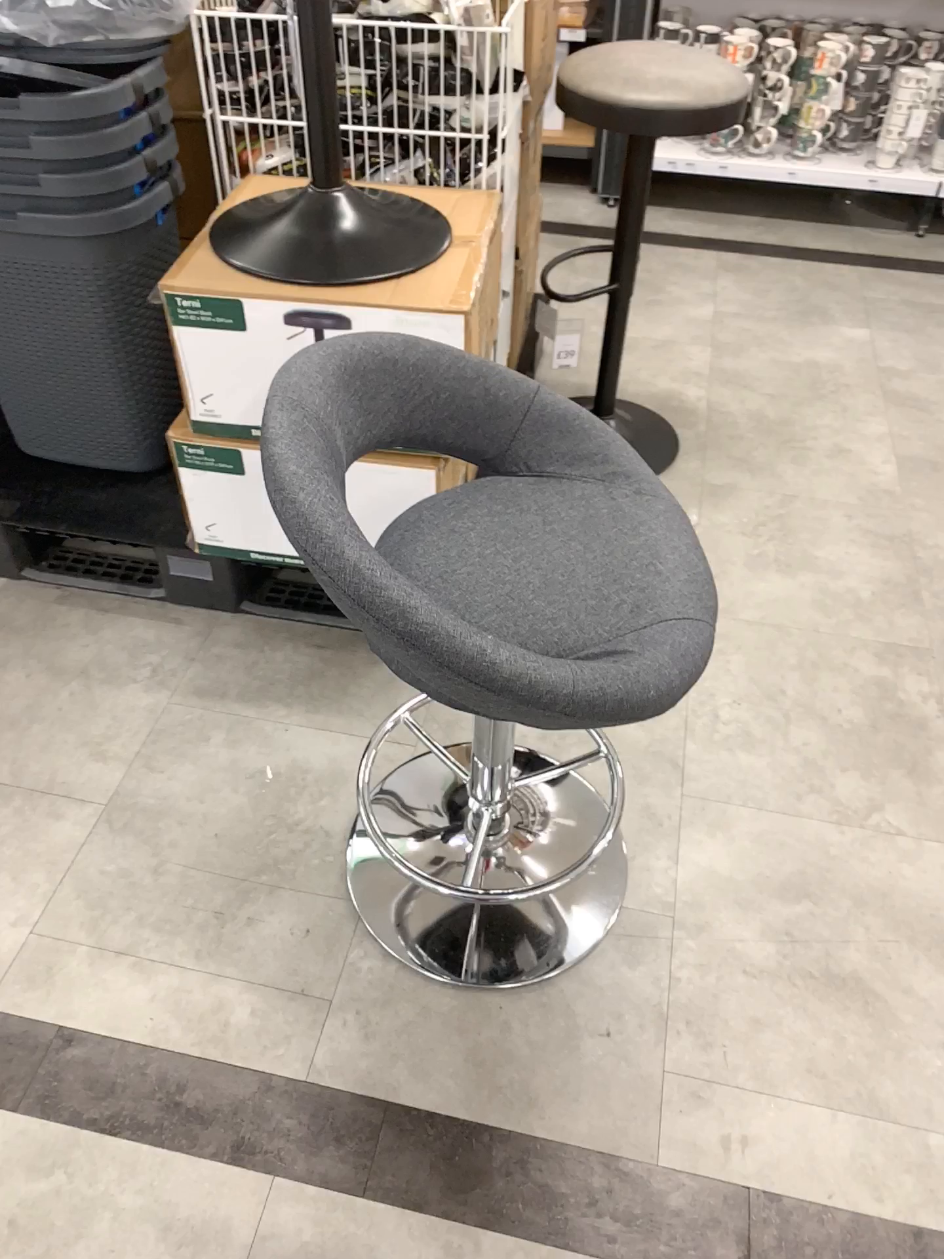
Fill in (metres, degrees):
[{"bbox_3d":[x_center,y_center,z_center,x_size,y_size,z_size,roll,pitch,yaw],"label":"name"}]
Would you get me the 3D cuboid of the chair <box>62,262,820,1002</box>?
[{"bbox_3d":[-0.019,0.007,1.190,0.592,0.664,0.578,3,43,1],"label":"chair"}]
